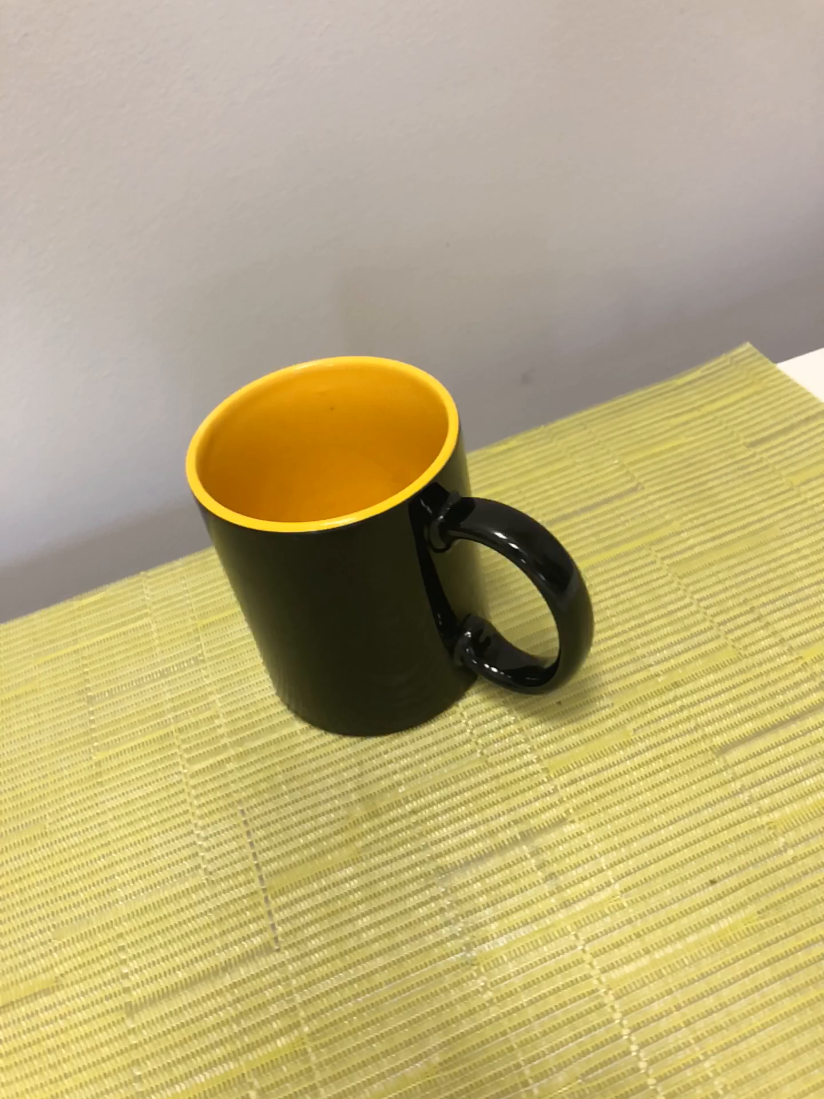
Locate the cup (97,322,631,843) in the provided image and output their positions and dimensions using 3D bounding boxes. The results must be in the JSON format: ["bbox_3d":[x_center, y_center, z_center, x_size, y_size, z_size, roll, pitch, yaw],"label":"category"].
[{"bbox_3d":[-0.005,0.006,0.285,0.119,0.104,0.088,14,49,25],"label":"cup"}]
